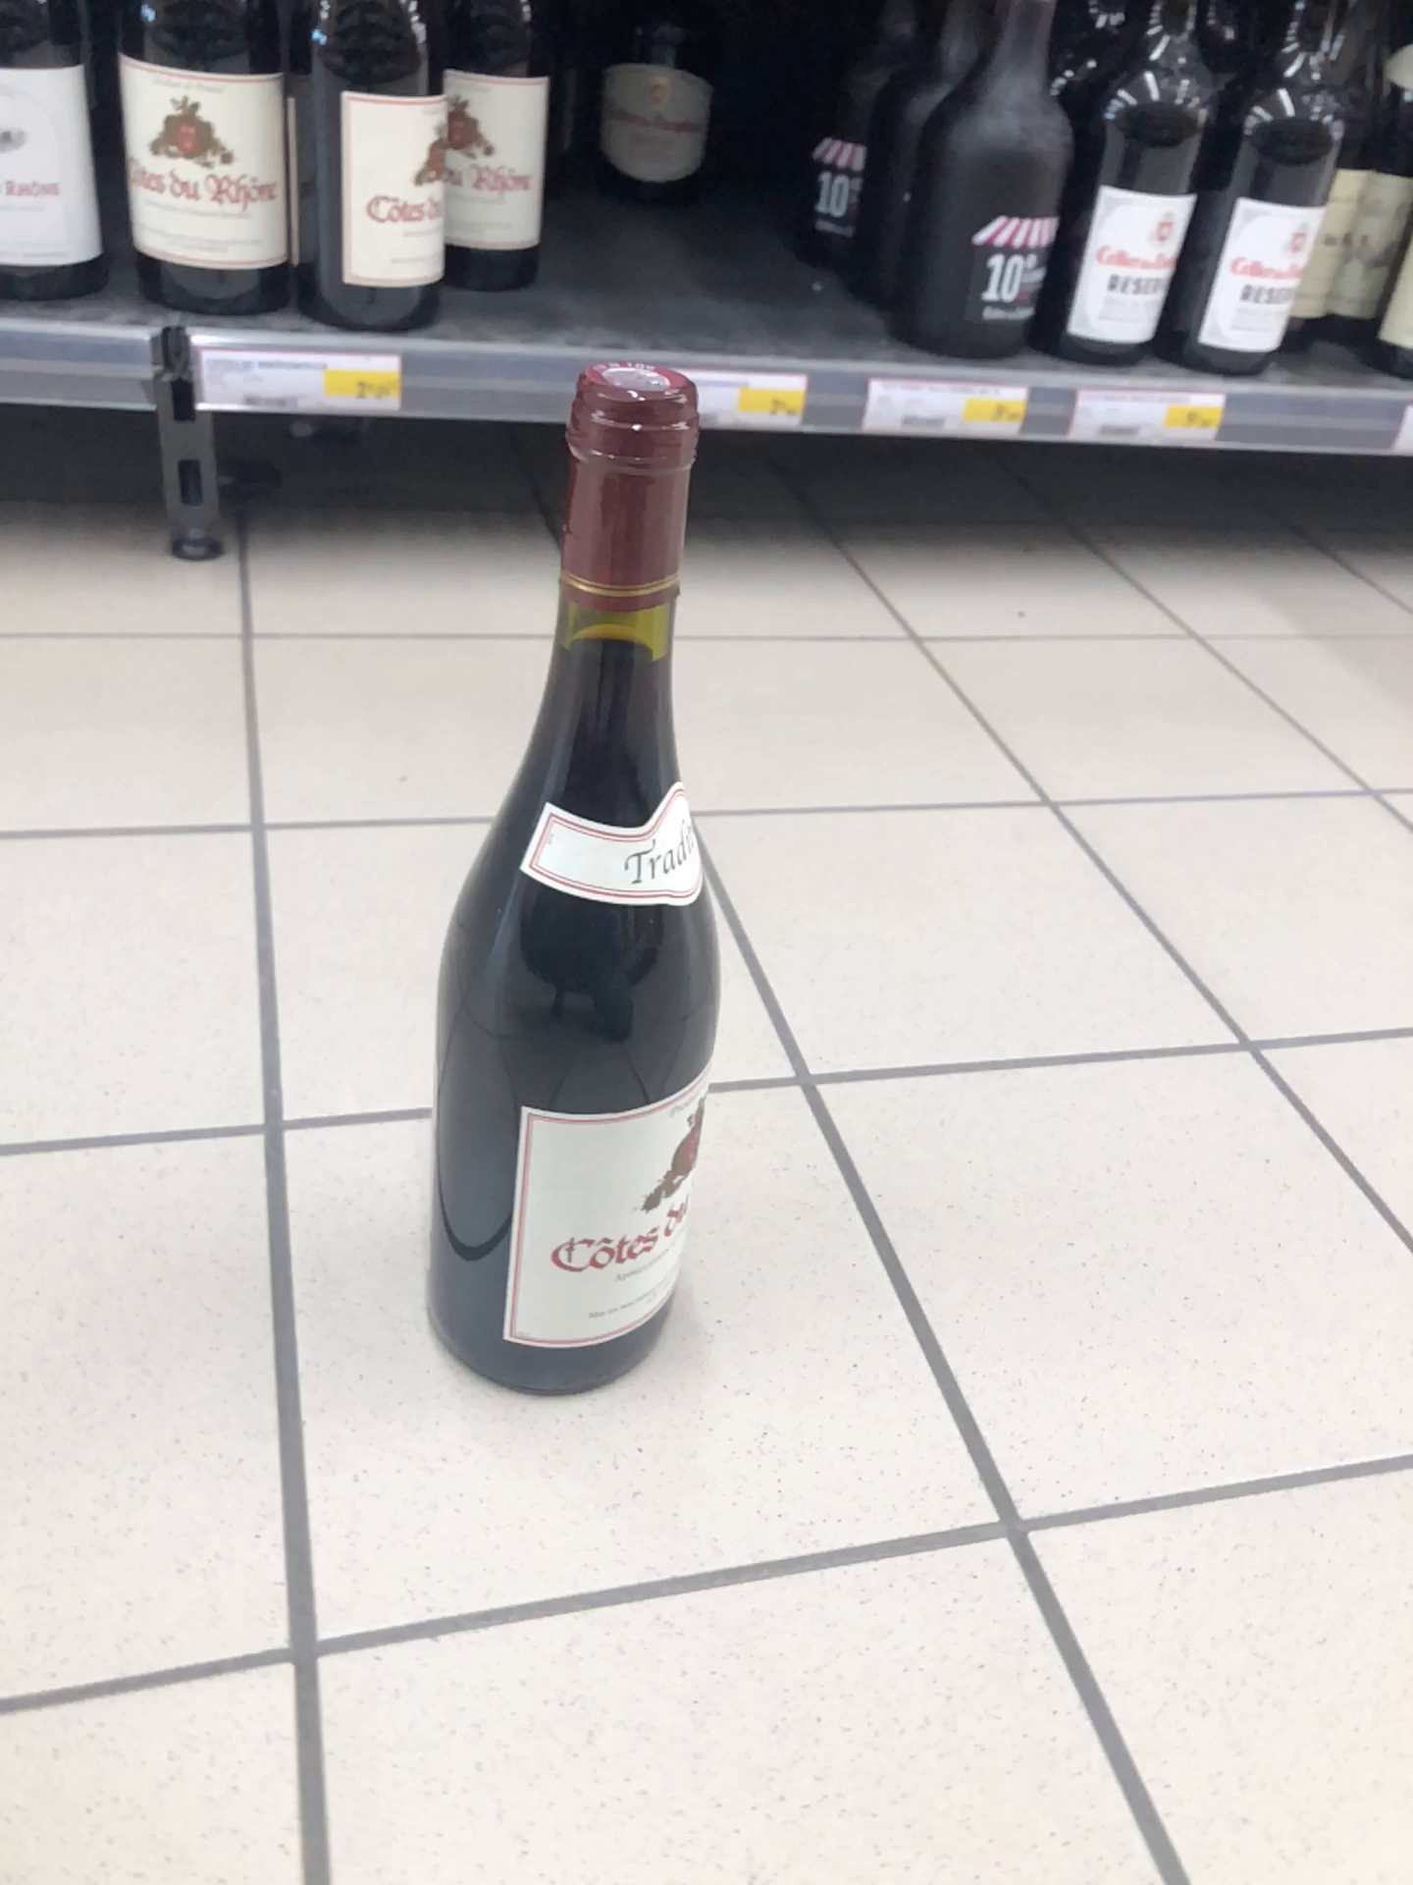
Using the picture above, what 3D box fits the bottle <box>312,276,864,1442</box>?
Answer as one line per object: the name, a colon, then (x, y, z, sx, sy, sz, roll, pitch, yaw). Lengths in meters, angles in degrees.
bottle: (-0.038, -0.010, 0.417, 0.090, 0.288, 0.091, 6, 34, -4)
